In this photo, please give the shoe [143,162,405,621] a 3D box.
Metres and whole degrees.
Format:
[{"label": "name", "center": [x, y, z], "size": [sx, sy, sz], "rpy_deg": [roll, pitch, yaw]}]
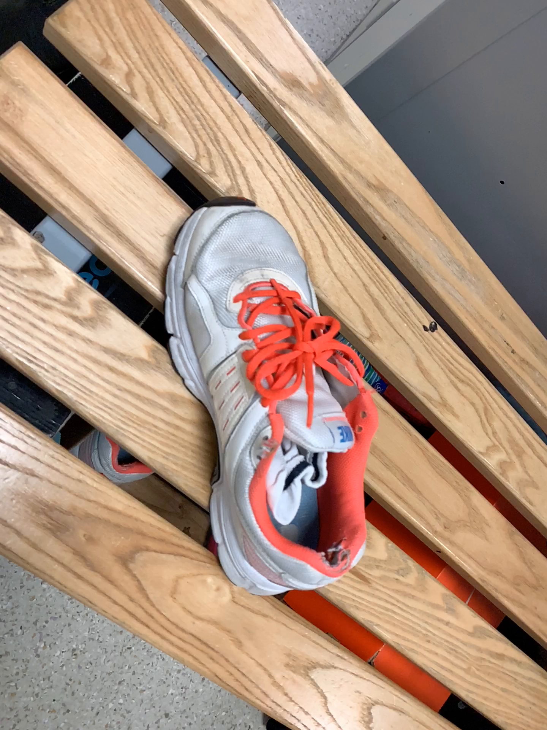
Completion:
[{"label": "shoe", "center": [-0.001, 0.010, 0.353], "size": [0.111, 0.079, 0.241], "rpy_deg": [-8, 90, -30]}]
